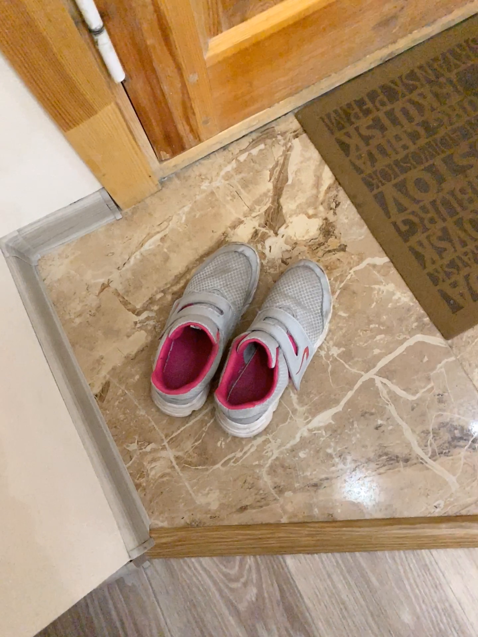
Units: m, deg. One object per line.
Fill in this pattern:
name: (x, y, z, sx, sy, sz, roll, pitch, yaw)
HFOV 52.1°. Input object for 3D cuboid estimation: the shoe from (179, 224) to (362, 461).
shoe: (0.043, 0.032, 0.611, 0.100, 0.100, 0.260, 27, 81, 11)

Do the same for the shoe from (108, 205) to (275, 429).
shoe: (-0.050, 0.002, 0.622, 0.100, 0.100, 0.250, 22, 80, 10)
